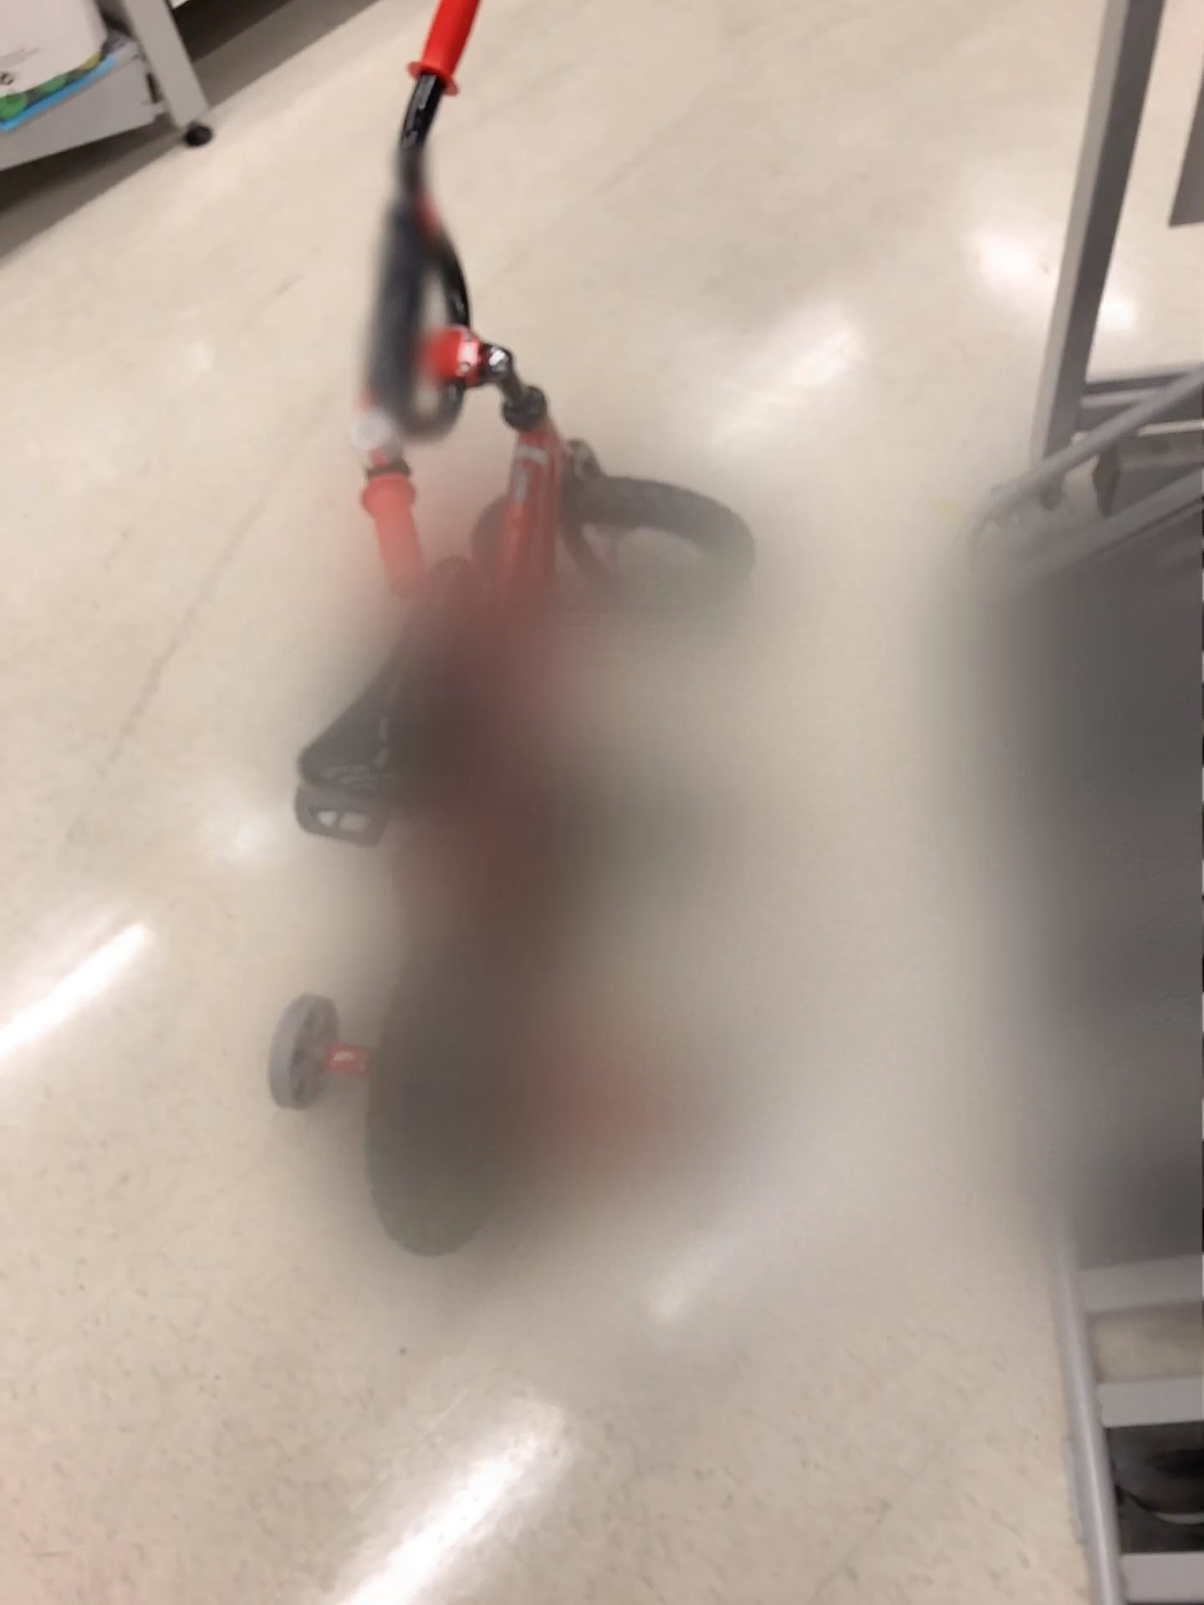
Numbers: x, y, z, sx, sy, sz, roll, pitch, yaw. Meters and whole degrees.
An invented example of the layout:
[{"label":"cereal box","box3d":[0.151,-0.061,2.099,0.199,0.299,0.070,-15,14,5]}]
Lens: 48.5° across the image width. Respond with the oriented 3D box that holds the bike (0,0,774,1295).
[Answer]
[{"label":"bike","box3d":[-0.156,-0.073,1.042,0.532,0.679,0.701,-1,60,9]}]
